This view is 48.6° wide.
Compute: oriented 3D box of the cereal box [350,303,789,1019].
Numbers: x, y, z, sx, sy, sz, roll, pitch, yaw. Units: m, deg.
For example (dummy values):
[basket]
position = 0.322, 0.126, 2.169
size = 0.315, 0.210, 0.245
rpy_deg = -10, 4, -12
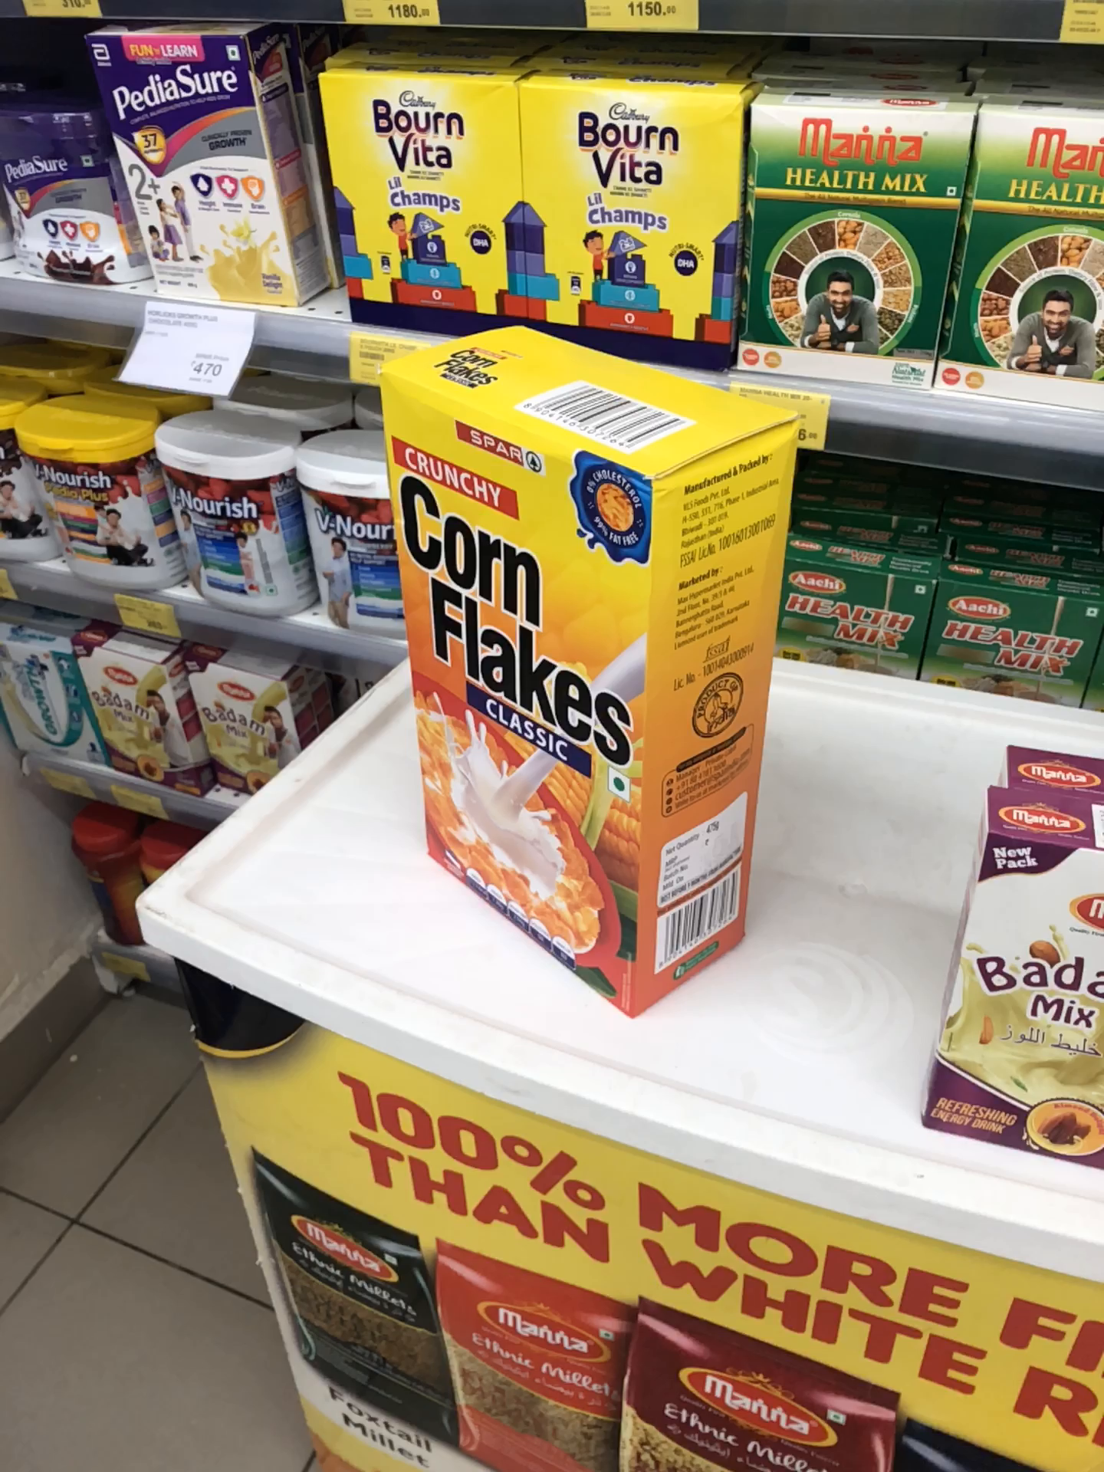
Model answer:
[cereal box]
position = 0.007, -0.038, 0.651
size = 0.090, 0.319, 0.201
rpy_deg = -28, 43, -31
